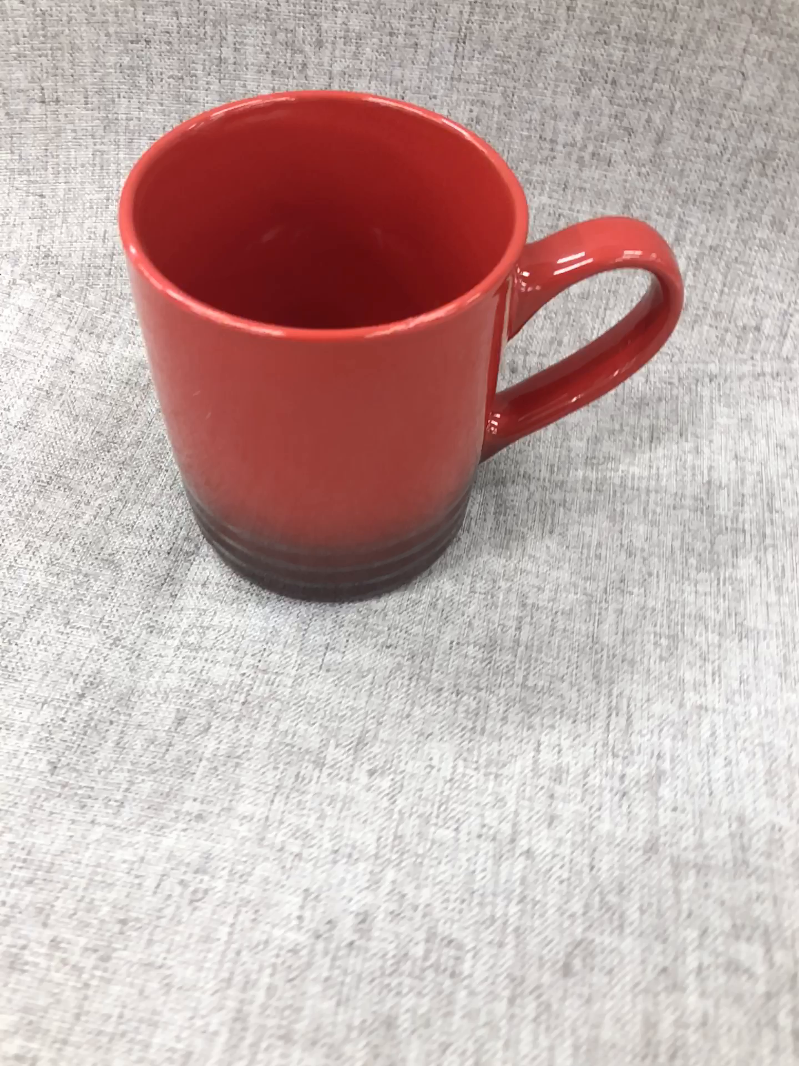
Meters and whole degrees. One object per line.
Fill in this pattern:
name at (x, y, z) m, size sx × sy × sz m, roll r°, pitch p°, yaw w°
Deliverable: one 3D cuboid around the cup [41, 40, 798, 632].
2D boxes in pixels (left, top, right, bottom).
cup at (0.001, -0.045, 0.219) m, size 0.140 × 0.100 × 0.080 m, roll -9°, pitch 57°, yaw -7°
